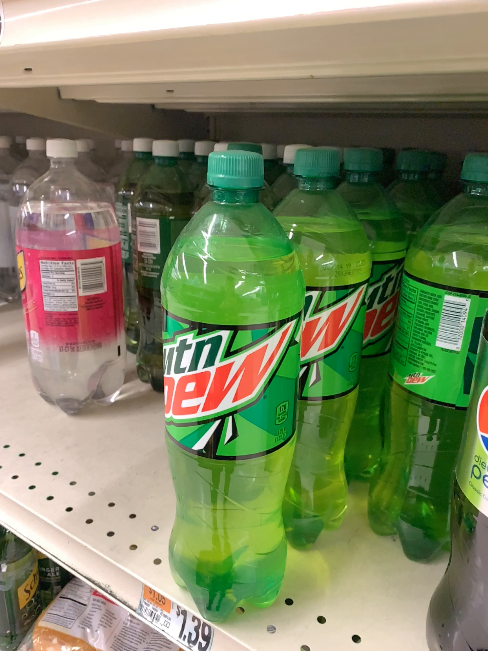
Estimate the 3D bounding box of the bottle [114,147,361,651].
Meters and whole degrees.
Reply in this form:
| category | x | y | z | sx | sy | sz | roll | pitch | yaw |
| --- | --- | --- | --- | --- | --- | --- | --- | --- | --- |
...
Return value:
| category | x | y | z | sx | sy | sz | roll | pitch | yaw |
| --- | --- | --- | --- | --- | --- | --- | --- | --- | --- |
| bottle | -0.006 | 0.048 | 0.323 | 0.100 | 0.302 | 0.090 | 15 | 24 | 33 |
